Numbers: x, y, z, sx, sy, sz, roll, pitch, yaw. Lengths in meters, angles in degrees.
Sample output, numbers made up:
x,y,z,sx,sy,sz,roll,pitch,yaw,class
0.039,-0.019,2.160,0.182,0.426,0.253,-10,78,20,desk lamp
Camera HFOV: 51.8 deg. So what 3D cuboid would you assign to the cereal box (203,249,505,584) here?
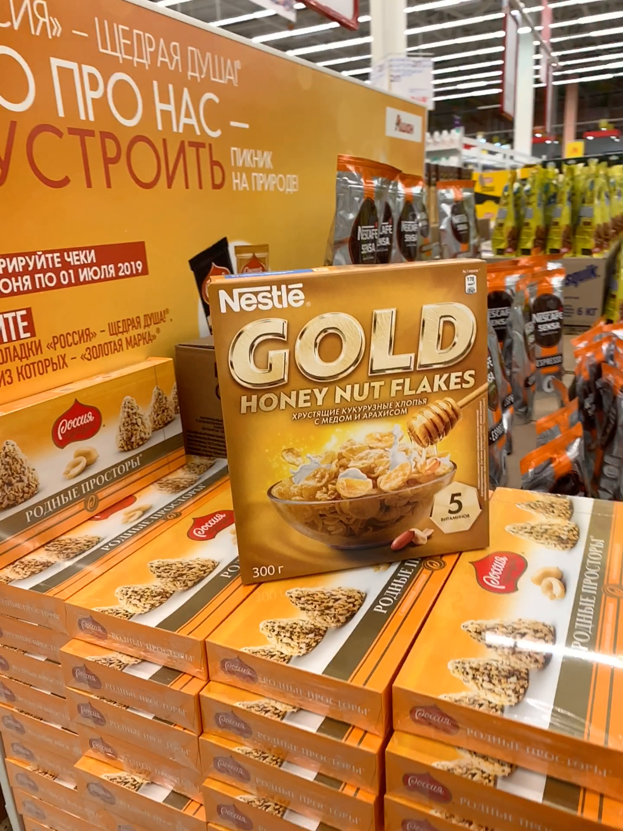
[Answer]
x,y,z,sx,sy,sz,roll,pitch,yaw,class
0.033,-0.003,0.476,0.200,0.219,0.060,-6,17,-10,cereal box
